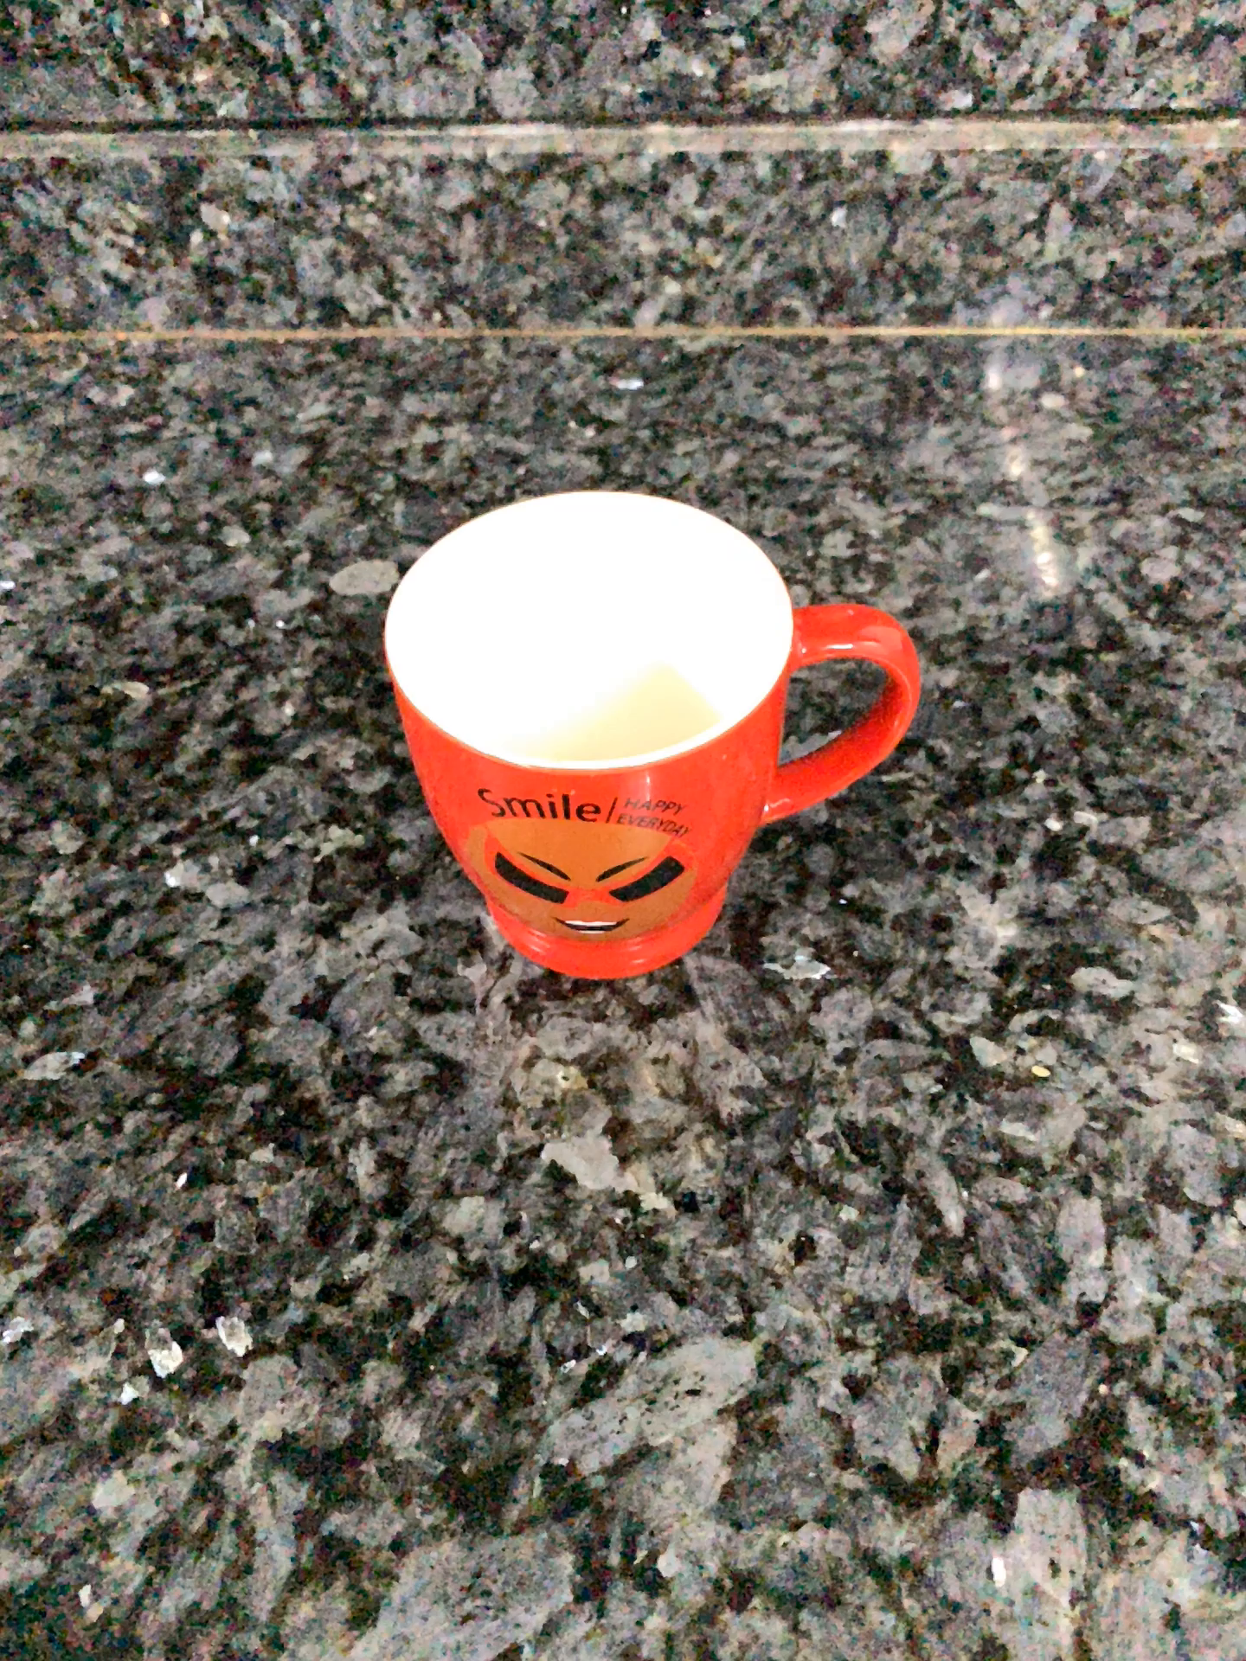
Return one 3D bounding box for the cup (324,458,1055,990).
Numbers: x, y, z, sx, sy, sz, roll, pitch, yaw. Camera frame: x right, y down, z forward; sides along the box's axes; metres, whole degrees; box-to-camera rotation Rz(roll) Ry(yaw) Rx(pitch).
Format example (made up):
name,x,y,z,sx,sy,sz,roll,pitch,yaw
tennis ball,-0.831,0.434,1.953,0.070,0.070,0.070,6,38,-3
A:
name,x,y,z,sx,sy,sz,roll,pitch,yaw
cup,0.010,-0.019,0.244,0.110,0.069,0.071,-1,51,0
